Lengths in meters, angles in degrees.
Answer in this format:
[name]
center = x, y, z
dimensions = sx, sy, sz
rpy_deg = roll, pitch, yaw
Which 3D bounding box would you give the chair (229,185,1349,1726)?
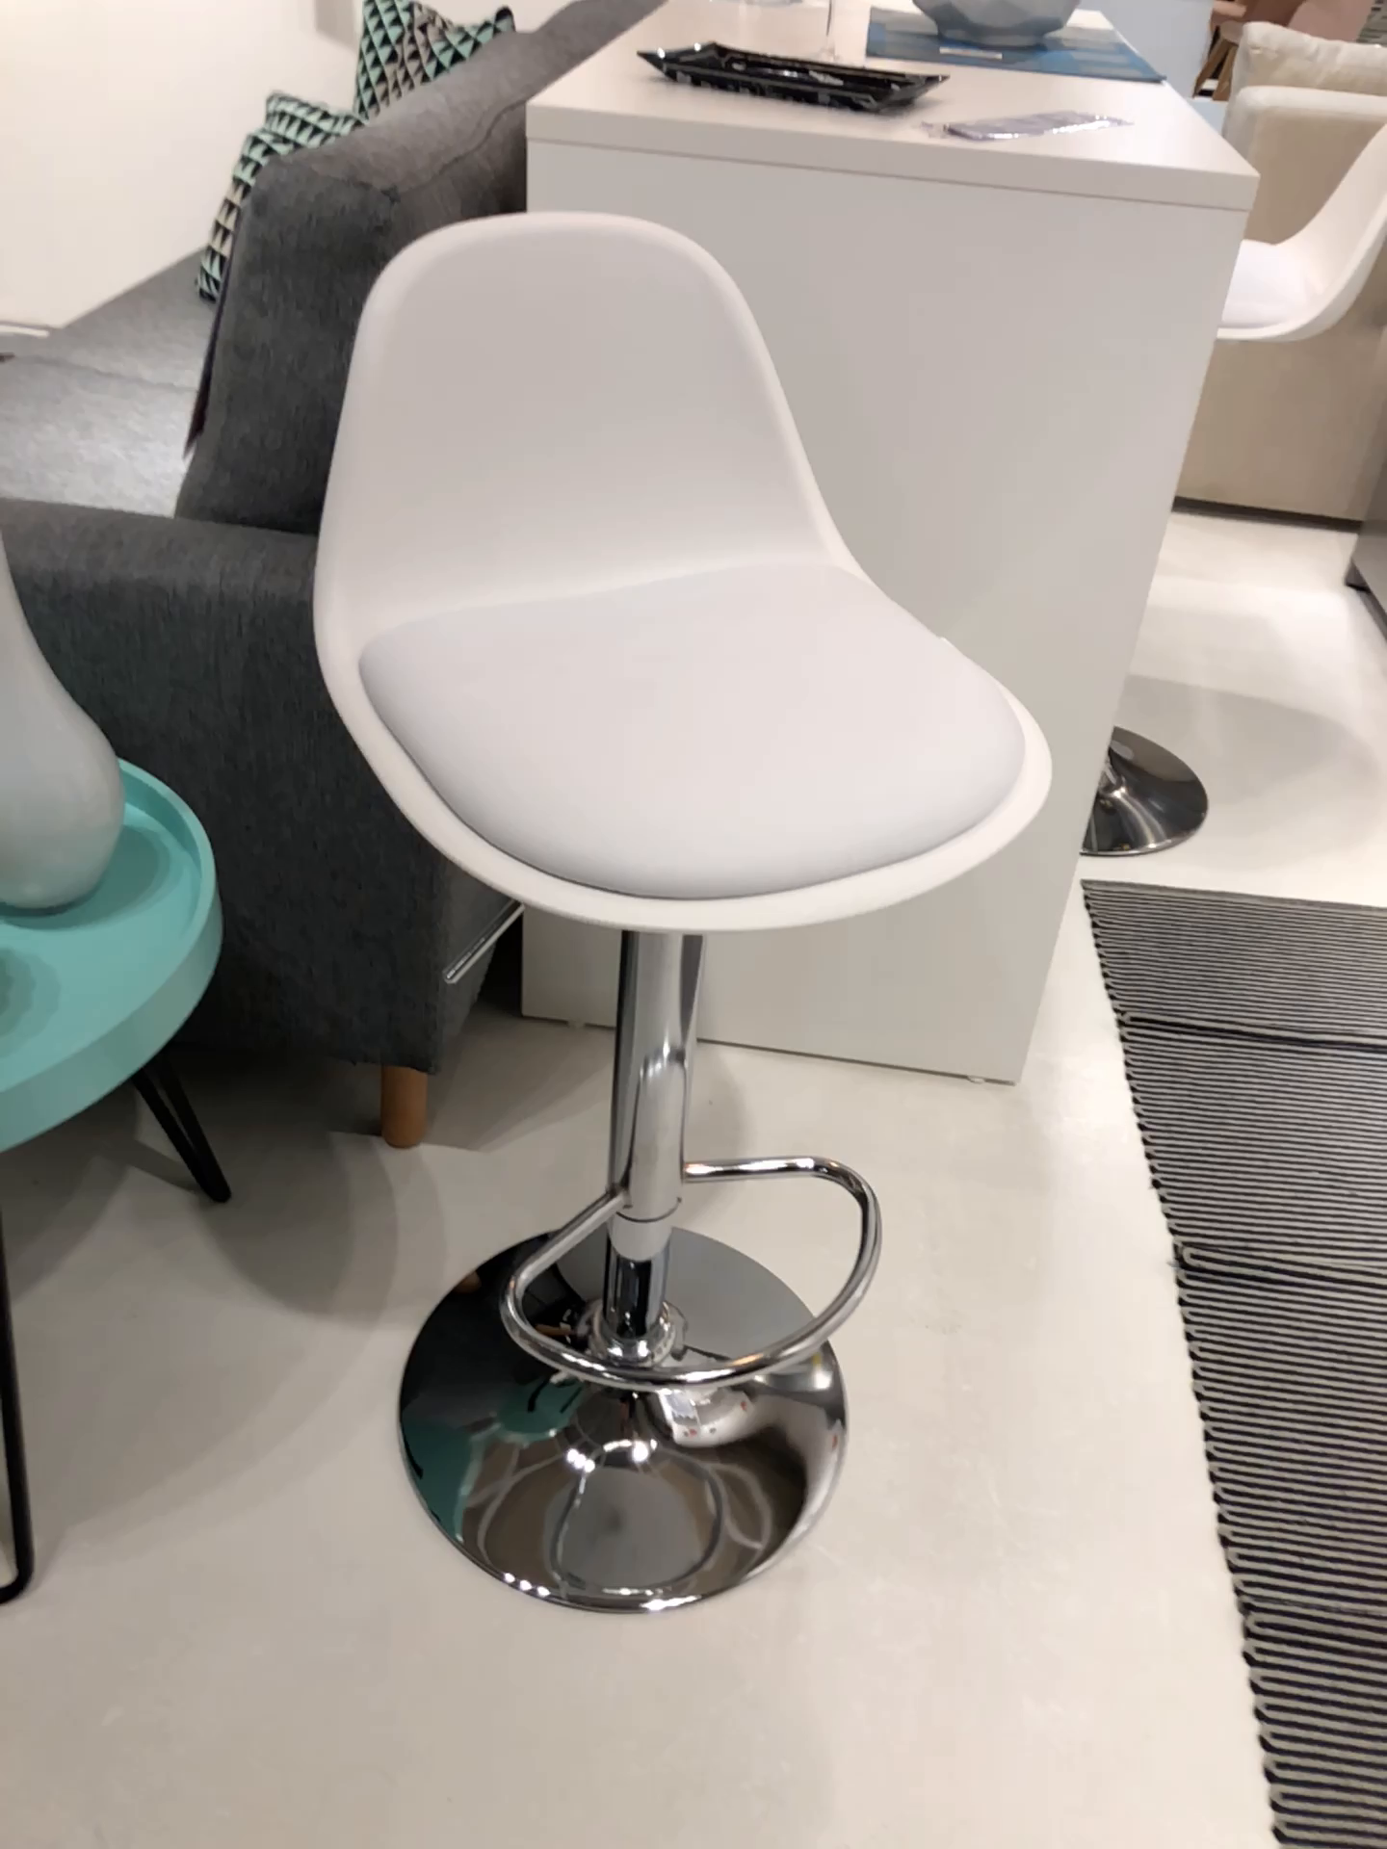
[chair]
center = -0.014, 0.039, 1.012
dimensions = 0.411, 0.883, 0.422
rpy_deg = -11, 40, -21
